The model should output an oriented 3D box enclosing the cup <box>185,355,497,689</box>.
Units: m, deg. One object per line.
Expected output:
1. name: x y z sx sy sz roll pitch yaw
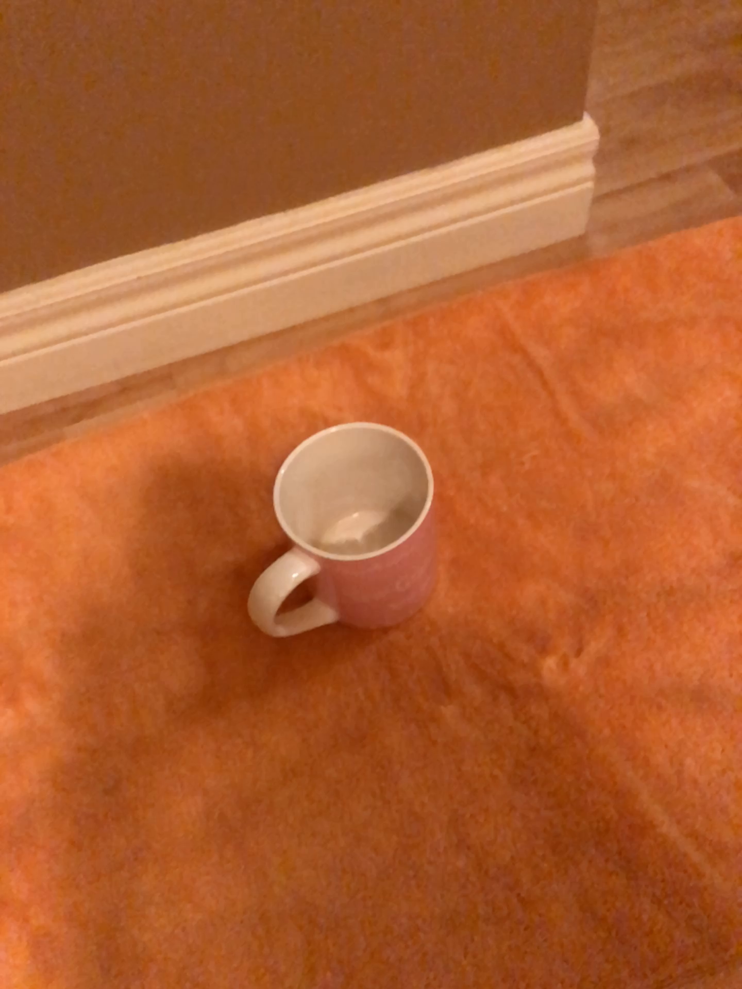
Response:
1. cup: -0.013 0.017 0.511 0.140 0.110 0.110 -37 61 -17
